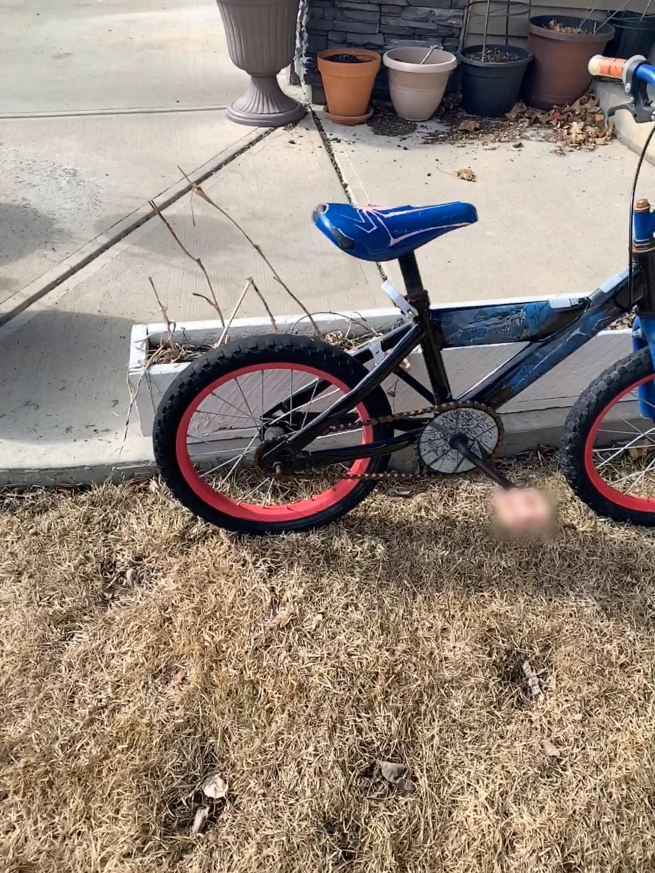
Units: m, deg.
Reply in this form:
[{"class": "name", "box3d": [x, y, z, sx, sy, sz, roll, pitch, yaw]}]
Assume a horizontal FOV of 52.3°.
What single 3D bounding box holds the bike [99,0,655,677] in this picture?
[{"class": "bike", "box3d": [0.266, -0.136, 0.883, 1.023, 0.728, 0.538, -2, 42, -1]}]
